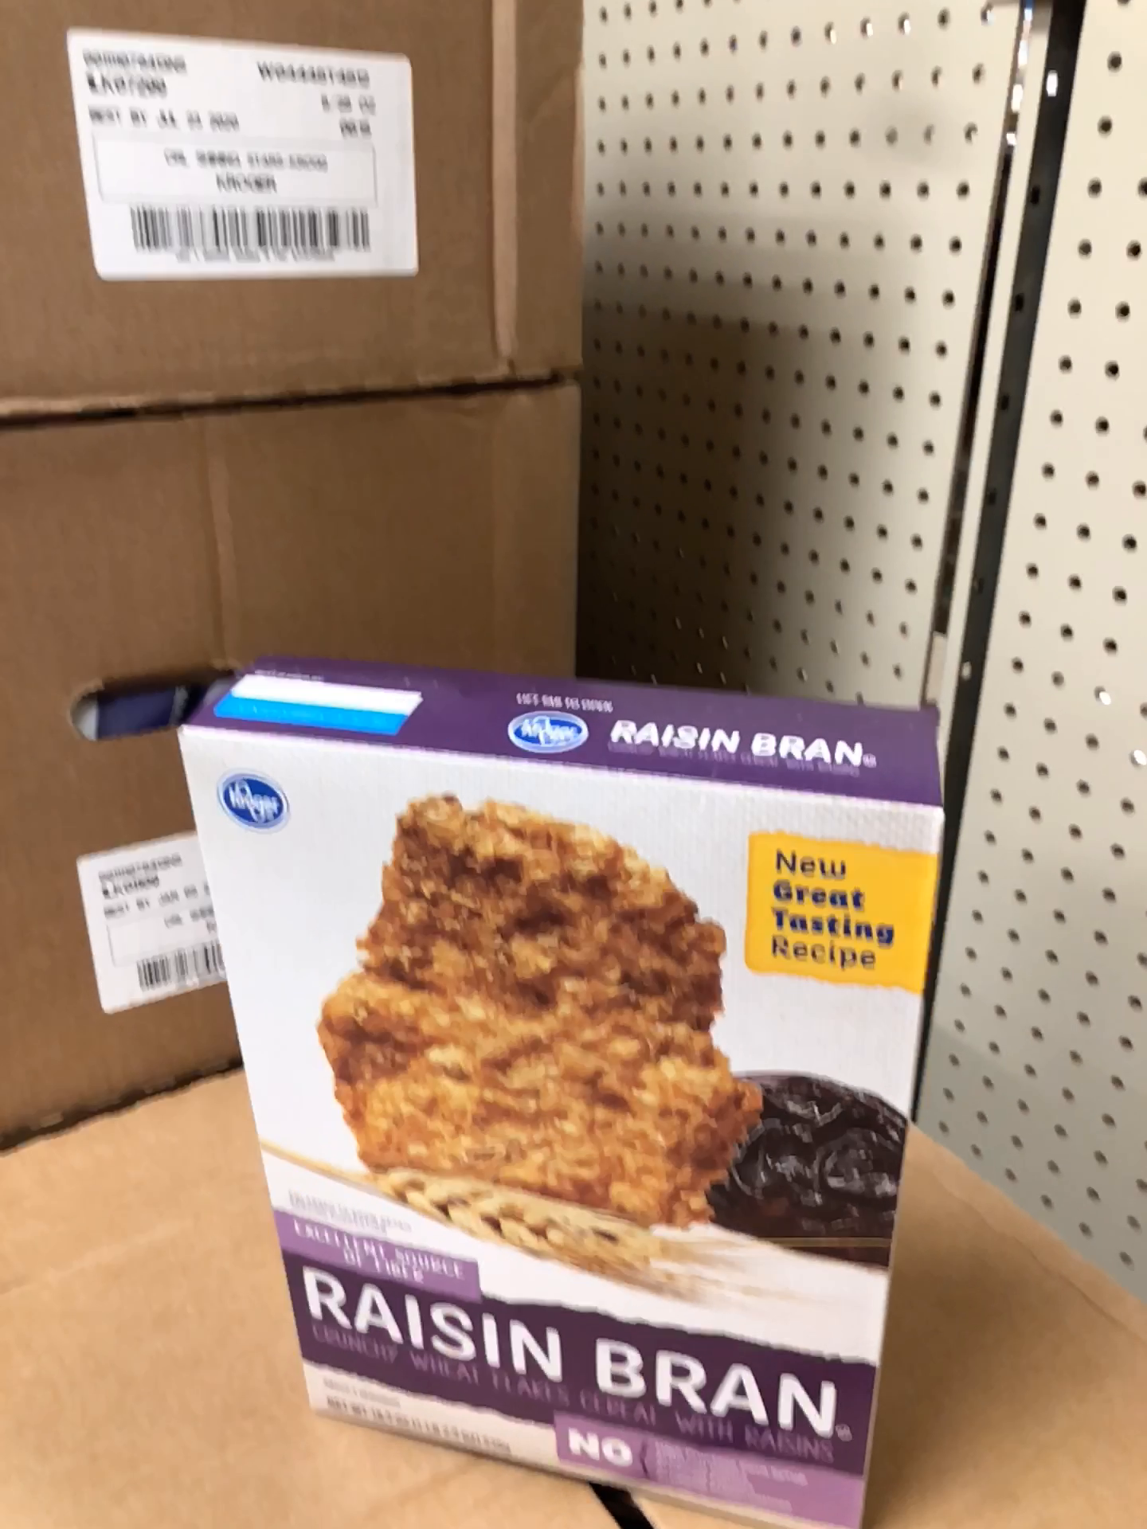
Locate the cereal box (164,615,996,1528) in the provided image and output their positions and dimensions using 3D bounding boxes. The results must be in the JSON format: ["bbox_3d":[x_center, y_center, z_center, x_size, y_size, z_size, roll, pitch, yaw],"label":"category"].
[{"bbox_3d":[0.002,0.101,0.382,0.200,0.269,0.060,7,28,14],"label":"cereal box"}]
